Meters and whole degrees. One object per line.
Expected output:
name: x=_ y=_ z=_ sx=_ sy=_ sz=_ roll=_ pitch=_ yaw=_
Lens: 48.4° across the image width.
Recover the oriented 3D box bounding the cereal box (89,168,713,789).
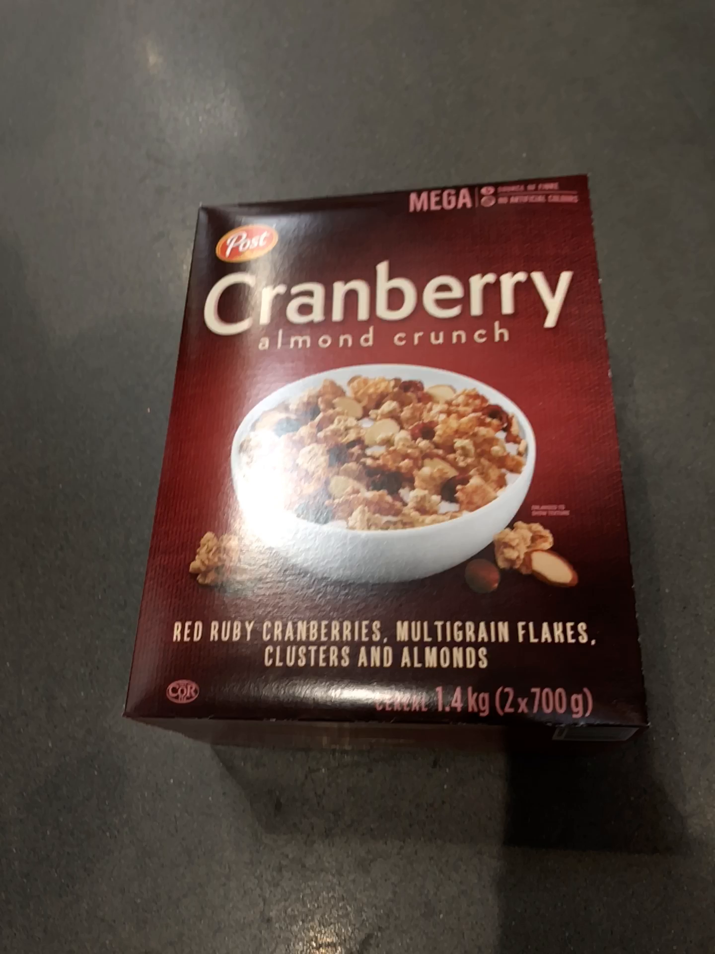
cereal box: x=0.028 y=0.001 z=0.450 sx=0.260 sy=0.130 sz=0.310 roll=0 pitch=67 yaw=9
